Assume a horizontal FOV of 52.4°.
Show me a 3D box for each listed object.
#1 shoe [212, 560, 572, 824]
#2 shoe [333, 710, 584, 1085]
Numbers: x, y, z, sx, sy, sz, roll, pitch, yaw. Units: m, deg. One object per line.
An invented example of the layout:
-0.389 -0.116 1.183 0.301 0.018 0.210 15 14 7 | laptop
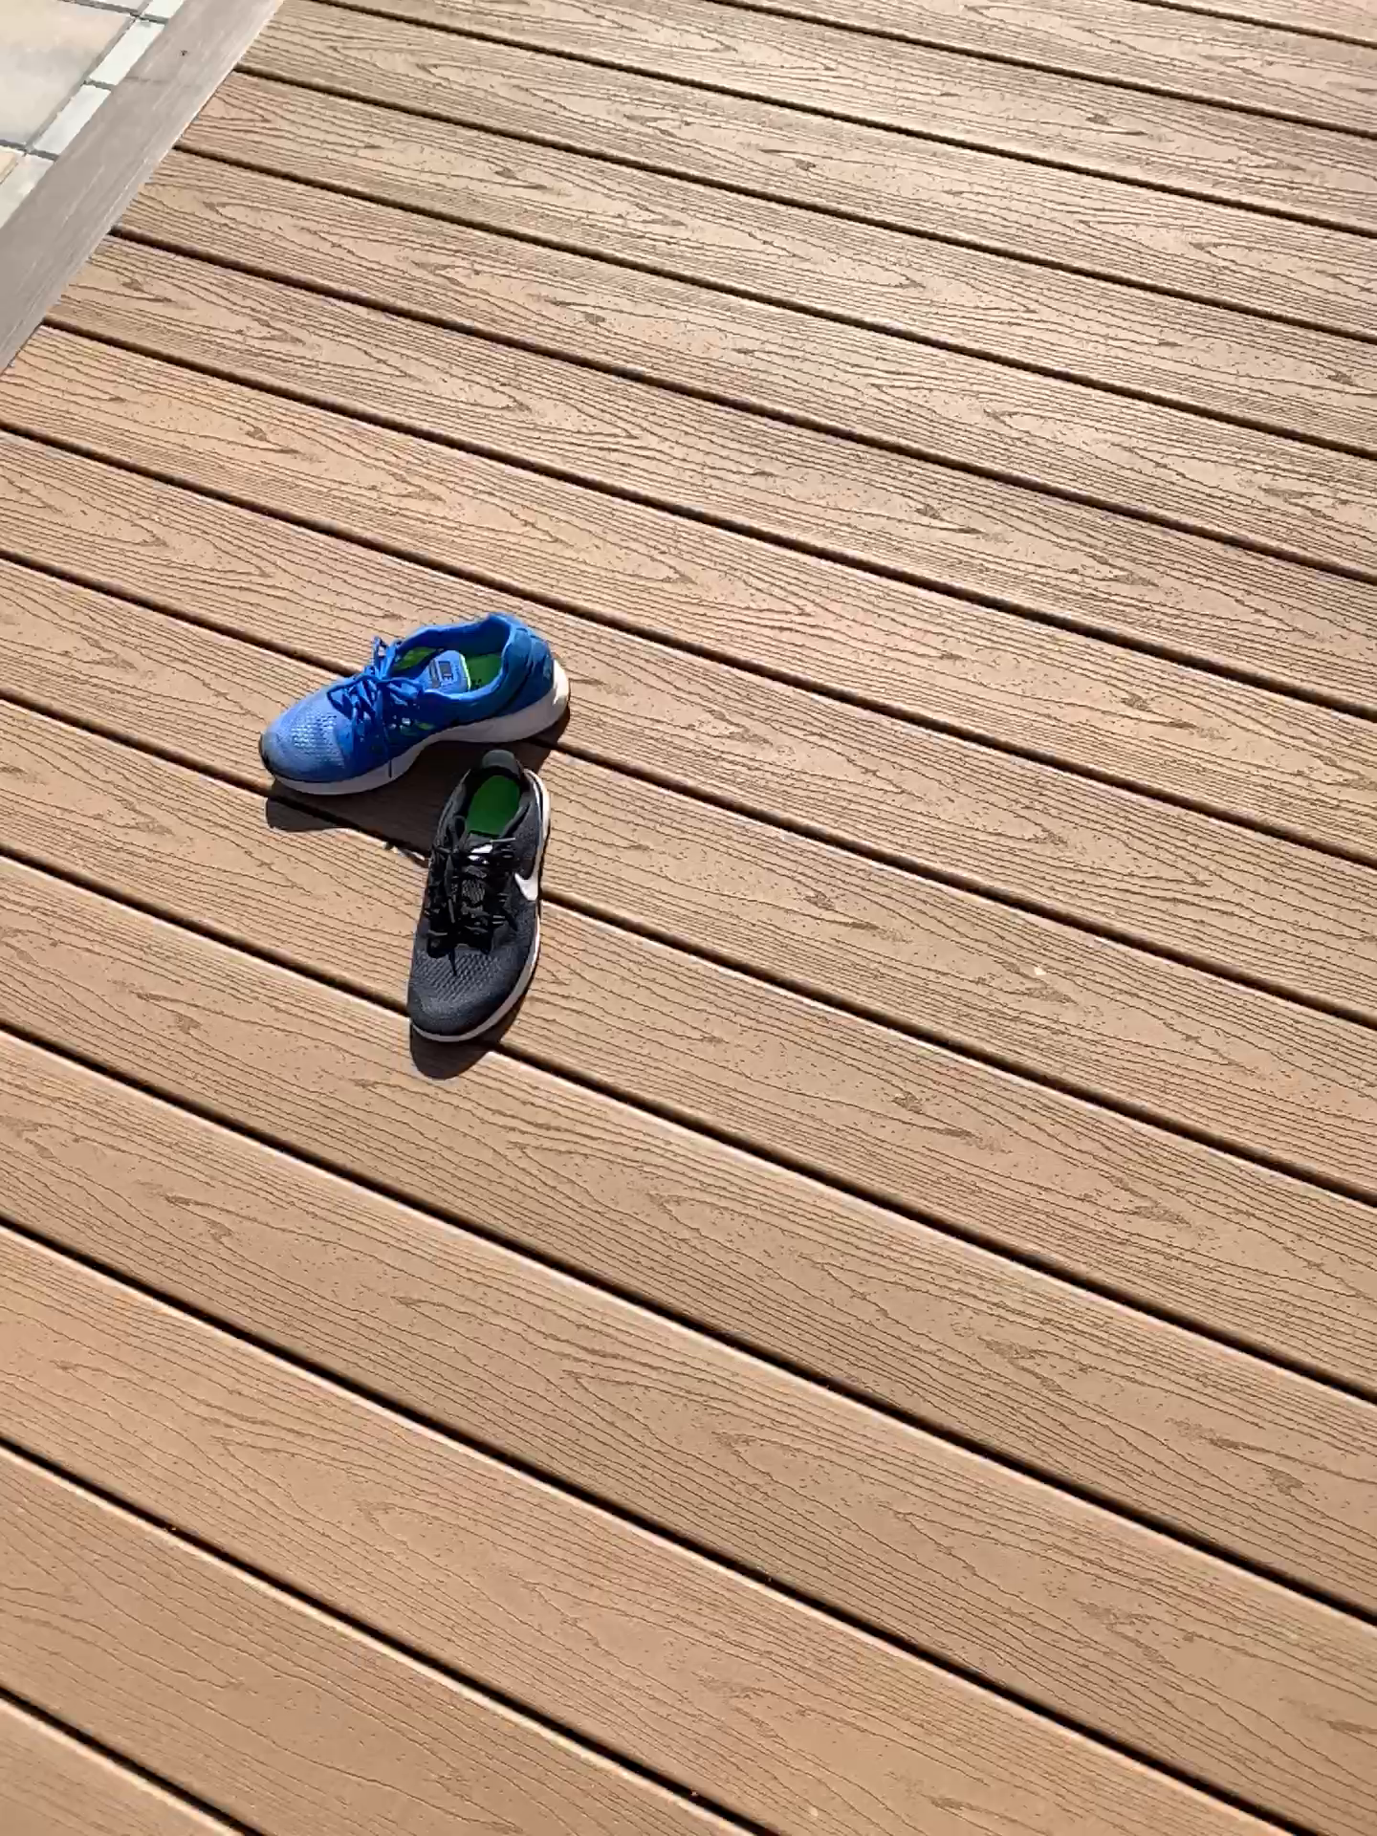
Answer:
-0.274 -0.210 1.316 0.290 0.130 0.120 -17 66 -2 | shoe
-0.190 -0.020 1.210 0.120 0.110 0.290 9 67 9 | shoe
